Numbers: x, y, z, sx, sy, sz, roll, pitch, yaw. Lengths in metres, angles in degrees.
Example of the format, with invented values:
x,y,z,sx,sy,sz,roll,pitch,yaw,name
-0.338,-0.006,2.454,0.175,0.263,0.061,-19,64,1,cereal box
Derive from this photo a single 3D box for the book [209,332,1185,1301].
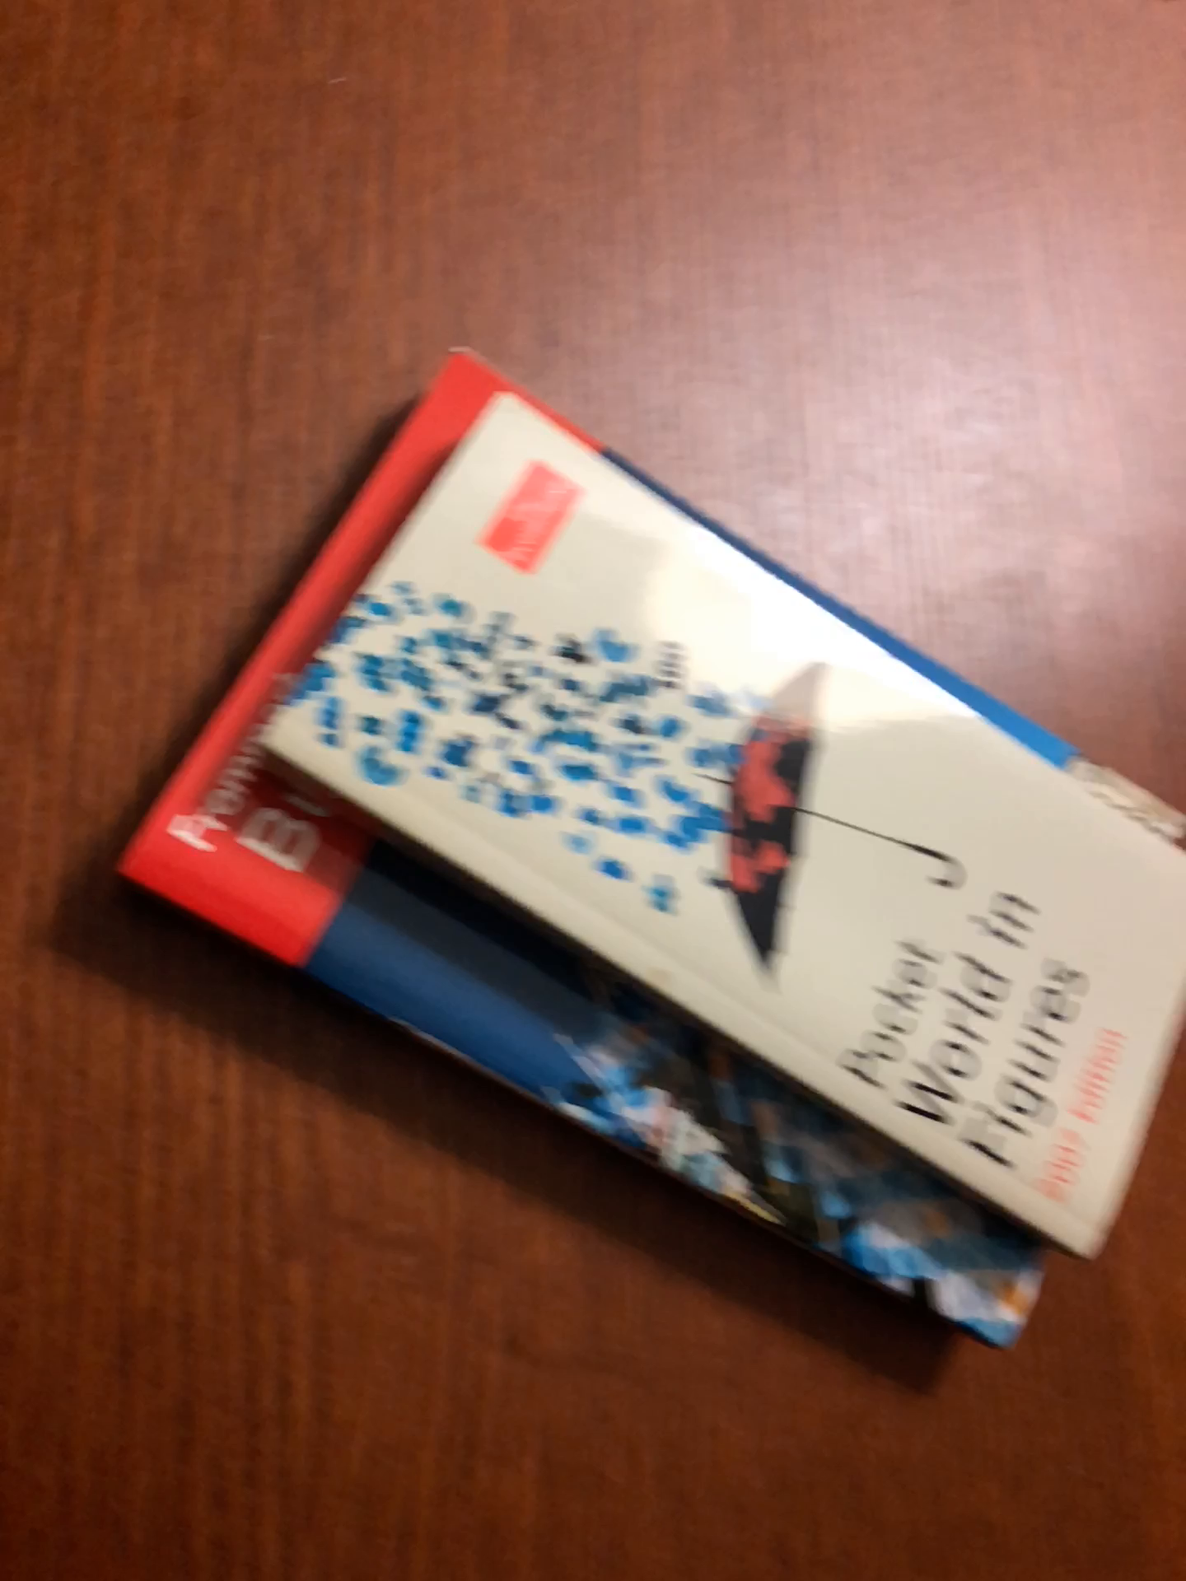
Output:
x,y,z,sx,sy,sz,roll,pitch,yaw,name
0.039,0.006,0.265,0.200,0.020,0.100,33,68,-9,book

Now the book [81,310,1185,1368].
x,y,z,sx,sy,sz,roll,pitch,yaw,name
0.025,0.009,0.286,0.210,0.020,0.140,31,69,-10,book
